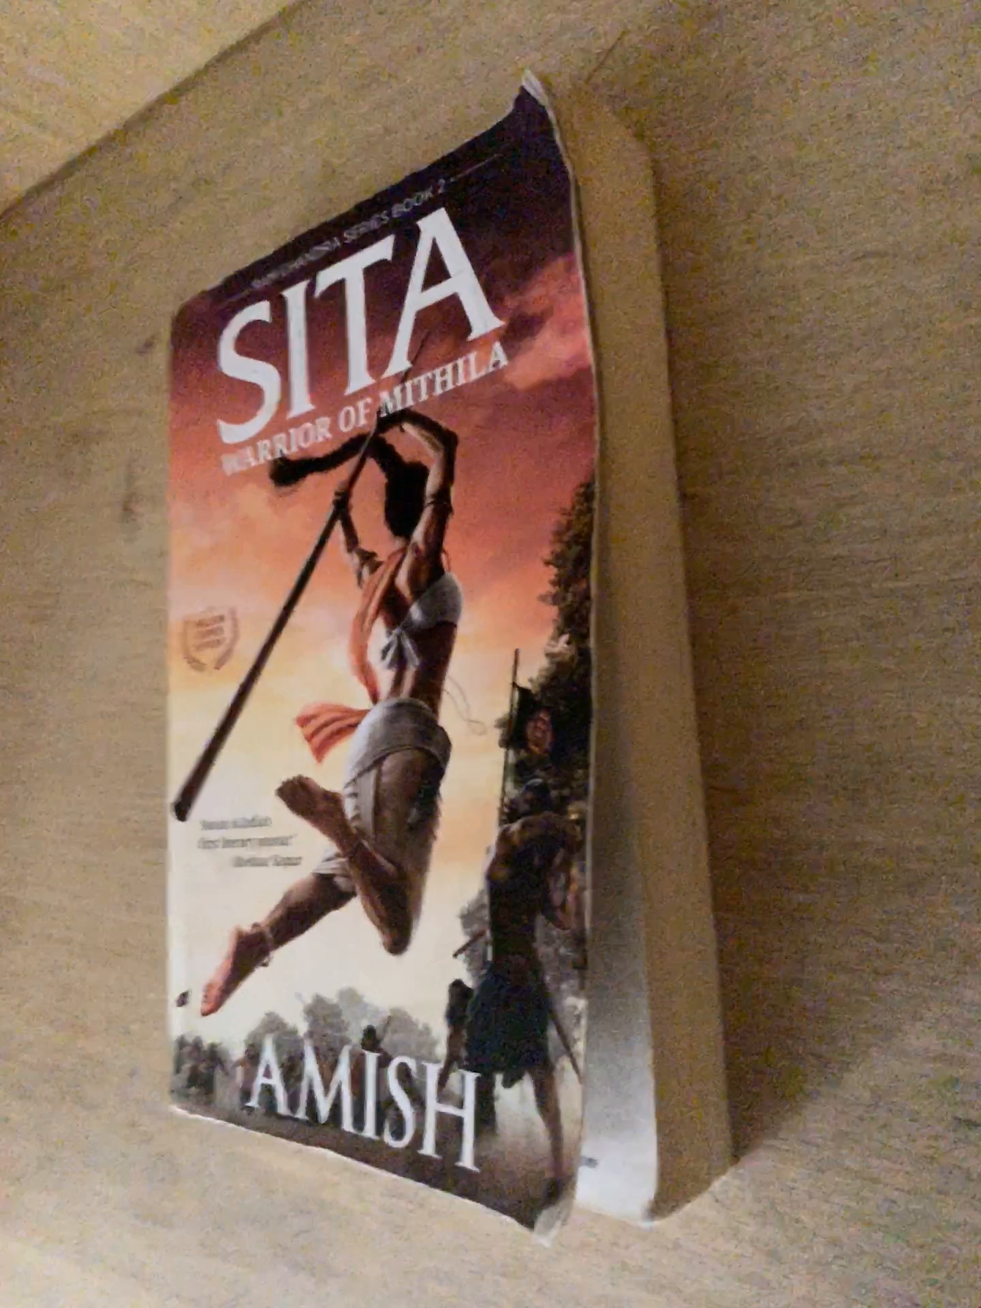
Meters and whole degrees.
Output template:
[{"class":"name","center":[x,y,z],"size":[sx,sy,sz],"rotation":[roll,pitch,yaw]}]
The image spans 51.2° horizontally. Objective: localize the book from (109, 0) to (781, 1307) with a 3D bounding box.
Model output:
[{"class":"book","center":[-0.023,-0.003,0.205],"size":[0.141,0.030,0.200],"rotation":[-10,77,39]}]
